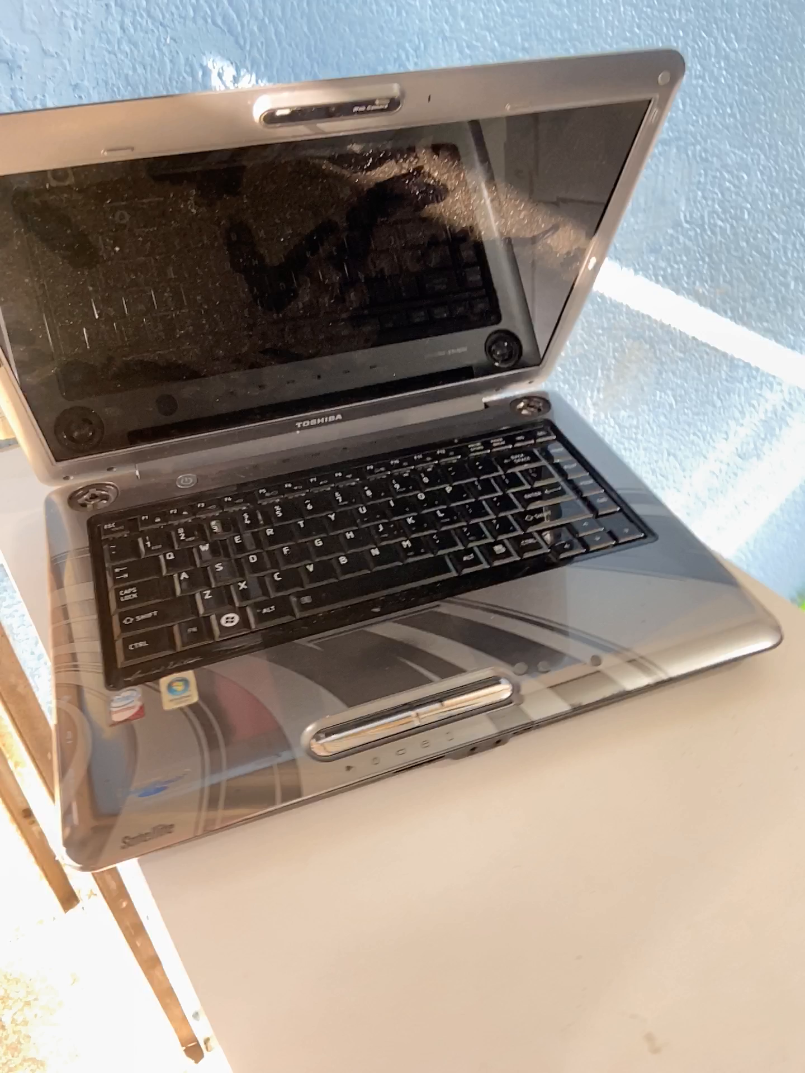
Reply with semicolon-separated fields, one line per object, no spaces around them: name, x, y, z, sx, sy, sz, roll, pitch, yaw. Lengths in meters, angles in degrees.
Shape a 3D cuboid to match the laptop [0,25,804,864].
laptop;-0.014;-0.076;0.404;0.358;0.235;0.259;-14;42;-14
